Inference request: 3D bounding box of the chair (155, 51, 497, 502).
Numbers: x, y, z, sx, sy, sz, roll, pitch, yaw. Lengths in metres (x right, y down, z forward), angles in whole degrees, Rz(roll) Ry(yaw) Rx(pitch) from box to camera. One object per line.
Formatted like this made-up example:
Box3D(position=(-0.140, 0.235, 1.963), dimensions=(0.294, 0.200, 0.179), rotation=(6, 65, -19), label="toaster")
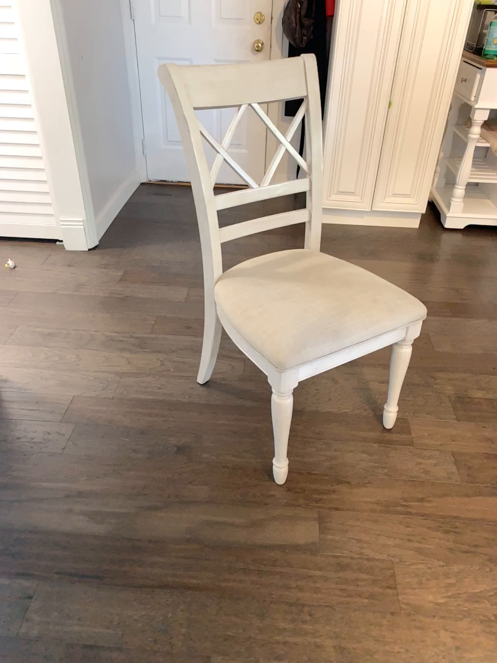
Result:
Box3D(position=(0.156, -0.184, 1.372), dimensions=(0.531, 0.924, 0.653), rotation=(-17, 39, -26), label="chair")
